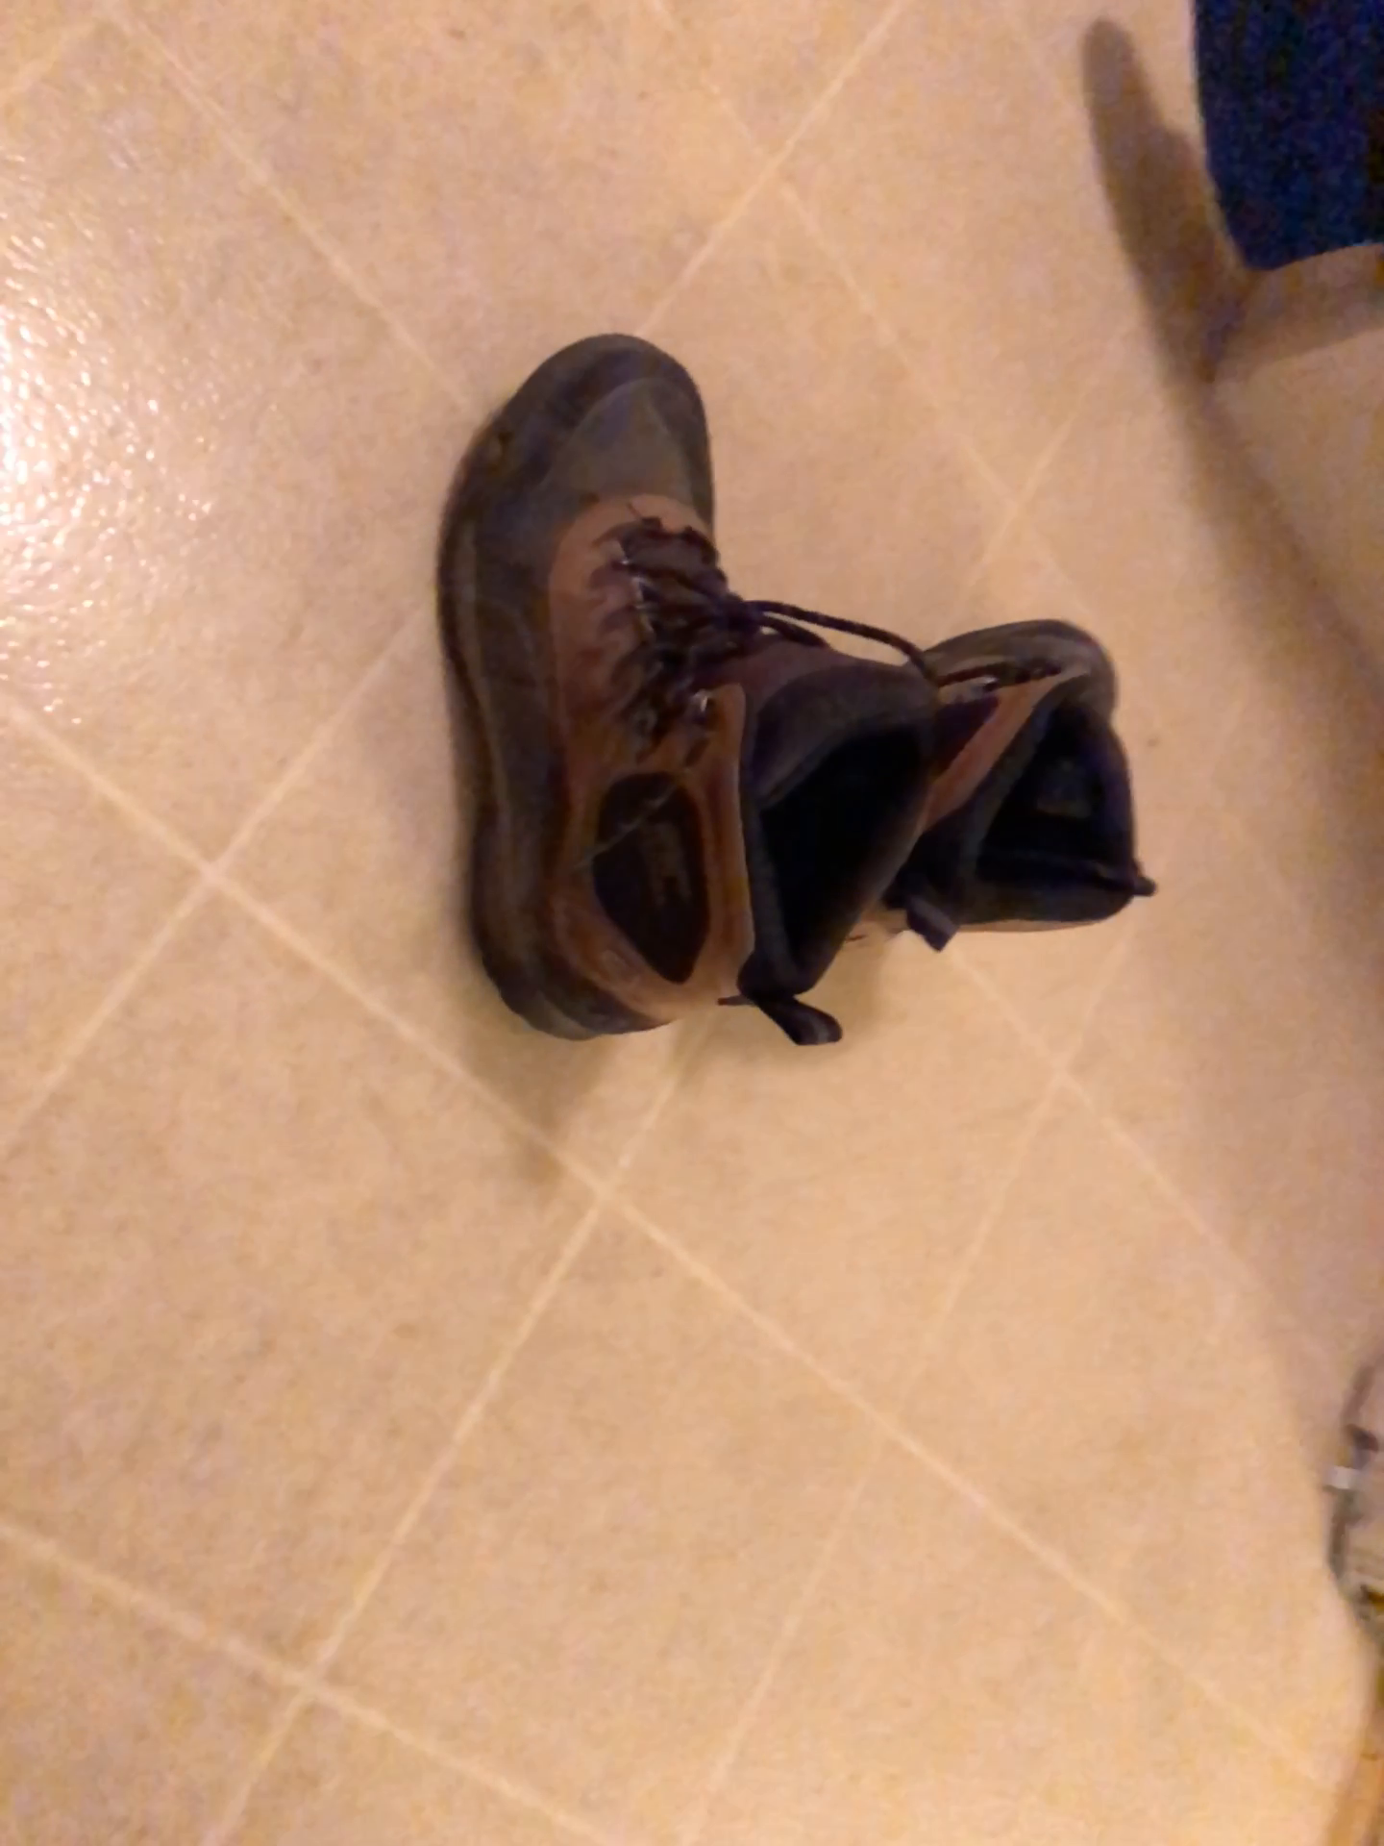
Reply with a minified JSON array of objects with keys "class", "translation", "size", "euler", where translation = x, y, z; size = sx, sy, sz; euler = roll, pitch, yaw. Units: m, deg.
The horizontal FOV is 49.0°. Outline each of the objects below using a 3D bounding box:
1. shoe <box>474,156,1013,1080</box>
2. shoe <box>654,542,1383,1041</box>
[{"class":"shoe","translation":[0.014,-0.097,0.601],"size":[0.122,0.185,0.299],"euler":[1,88,-37]},{"class":"shoe","translation":[0.164,-0.065,0.714],"size":[0.294,0.185,0.113],"euler":[-29,107,-34]}]
